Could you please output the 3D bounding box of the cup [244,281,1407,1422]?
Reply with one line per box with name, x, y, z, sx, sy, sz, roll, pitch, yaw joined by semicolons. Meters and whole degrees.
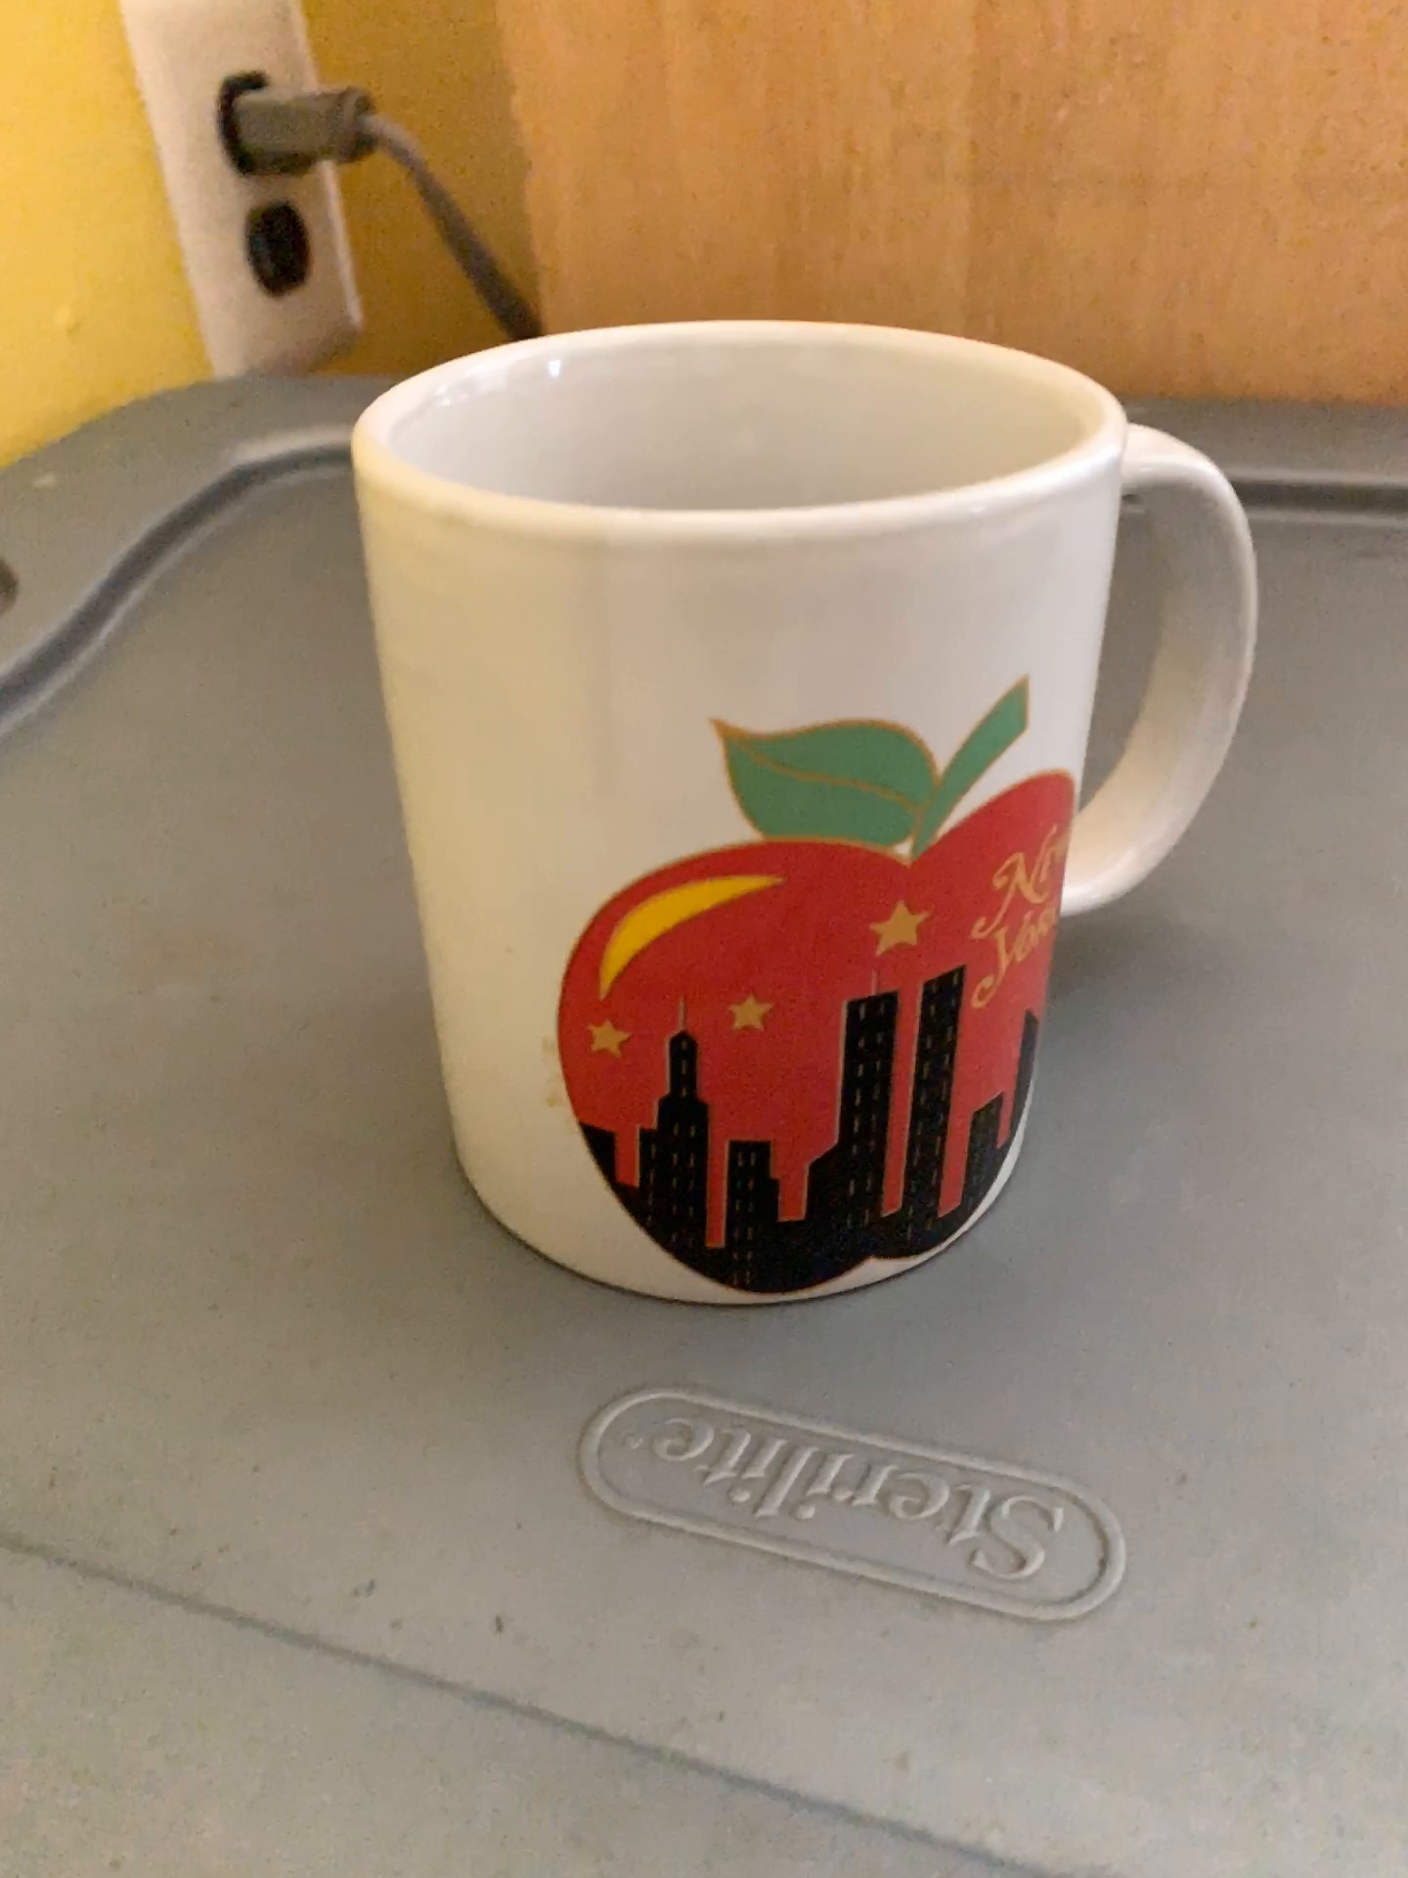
cup;0.017;-0.025;0.199;0.118;0.095;0.097;-16;36;-23
